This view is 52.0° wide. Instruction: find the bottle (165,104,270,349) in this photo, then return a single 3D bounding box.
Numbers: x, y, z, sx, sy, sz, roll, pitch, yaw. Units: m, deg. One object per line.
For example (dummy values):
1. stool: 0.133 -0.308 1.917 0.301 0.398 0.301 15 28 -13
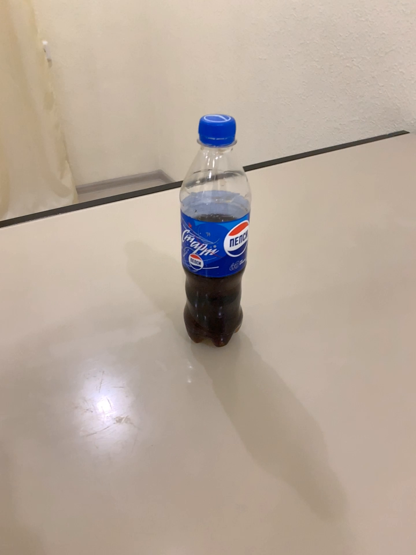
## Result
1. bottle: 0.008 -0.041 0.424 0.080 0.229 0.081 0 36 0
